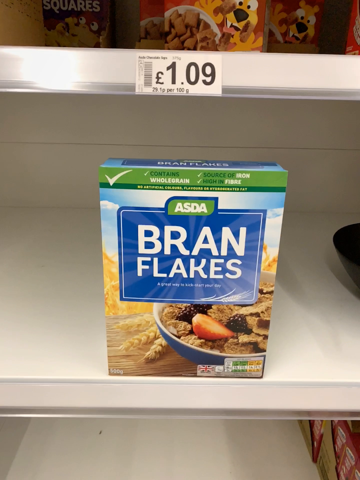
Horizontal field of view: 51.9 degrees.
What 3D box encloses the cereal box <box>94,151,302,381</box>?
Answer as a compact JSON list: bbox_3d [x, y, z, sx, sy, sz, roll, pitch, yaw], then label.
[{"bbox_3d":[0.016,0.036,0.472,0.220,0.278,0.081,1,19,-1],"label":"cereal box"}]
